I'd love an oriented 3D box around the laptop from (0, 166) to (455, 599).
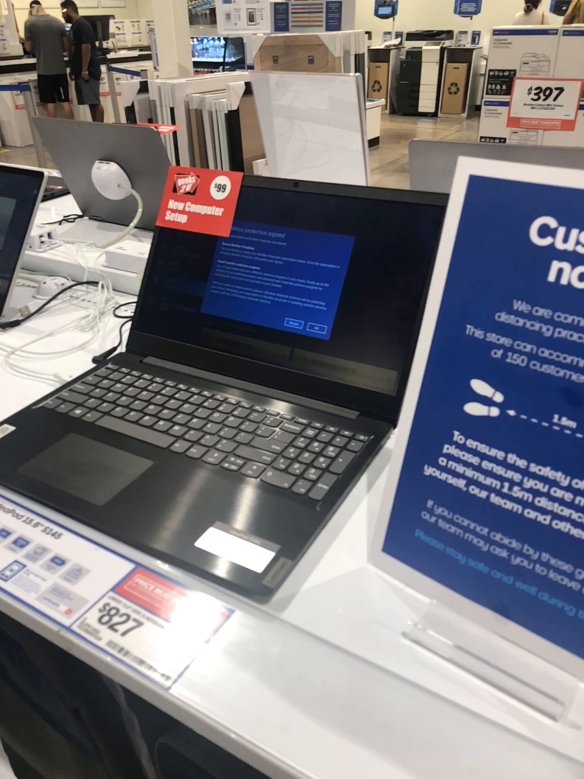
[{"bbox_3d":[-0.083,-0.064,0.613,0.353,0.192,0.370,15,35,27],"label":"laptop"}]
